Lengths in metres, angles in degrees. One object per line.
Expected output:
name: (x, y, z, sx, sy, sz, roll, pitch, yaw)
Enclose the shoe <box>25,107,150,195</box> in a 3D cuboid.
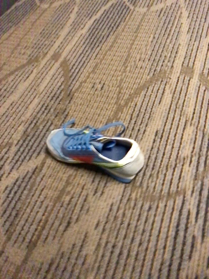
shoe: (-0.035, 0.021, 0.531, 0.259, 0.095, 0.101, 16, 60, 20)
